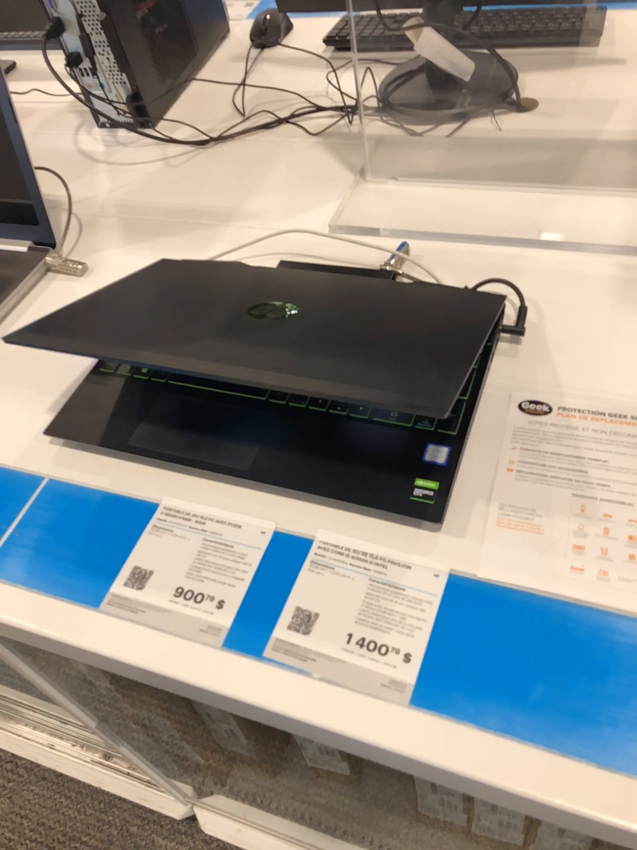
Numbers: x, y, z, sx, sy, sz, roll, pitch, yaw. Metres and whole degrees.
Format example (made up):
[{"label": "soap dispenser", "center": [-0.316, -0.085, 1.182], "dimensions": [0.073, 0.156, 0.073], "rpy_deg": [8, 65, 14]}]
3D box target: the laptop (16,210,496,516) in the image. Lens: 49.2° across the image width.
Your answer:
[{"label": "laptop", "center": [-0.046, -0.071, 0.586], "dimensions": [0.339, 0.064, 0.221], "rpy_deg": [10, 57, 19]}]
